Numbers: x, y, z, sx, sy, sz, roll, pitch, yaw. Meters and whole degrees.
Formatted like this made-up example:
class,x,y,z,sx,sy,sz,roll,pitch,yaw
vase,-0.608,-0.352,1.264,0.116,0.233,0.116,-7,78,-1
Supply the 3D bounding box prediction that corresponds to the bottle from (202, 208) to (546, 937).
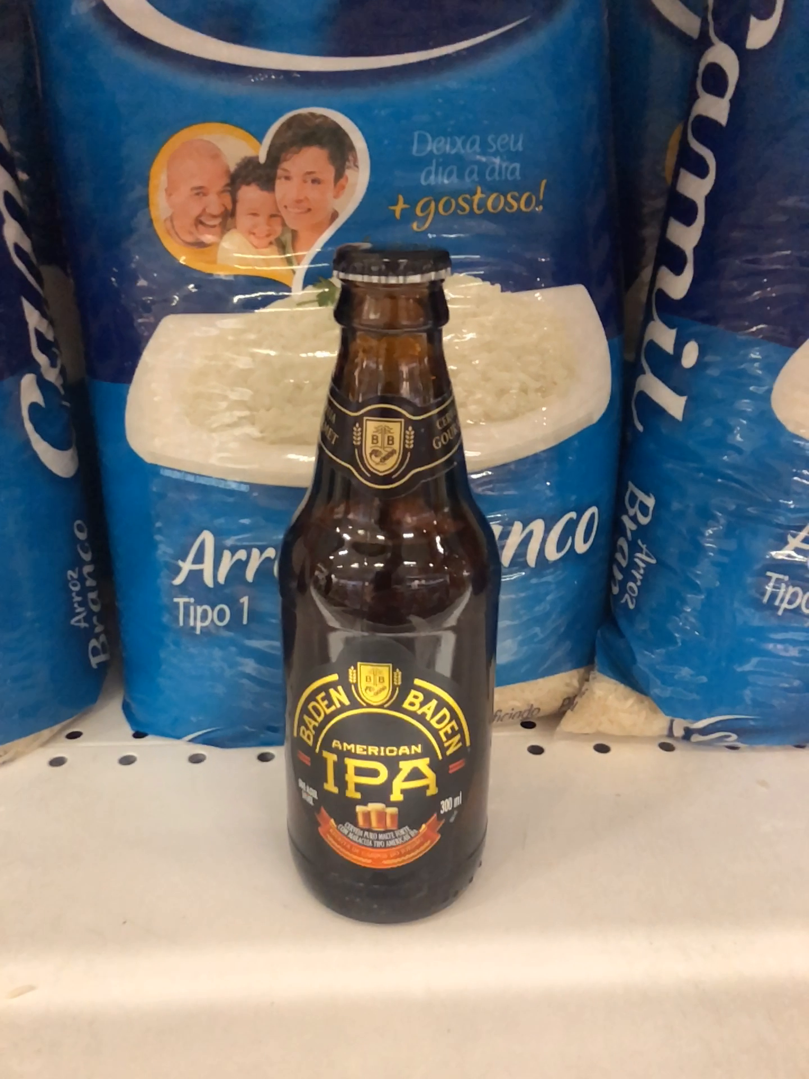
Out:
class,x,y,z,sx,sy,sz,roll,pitch,yaw
bottle,-0.006,0.013,0.248,0.070,0.189,0.060,3,24,4
